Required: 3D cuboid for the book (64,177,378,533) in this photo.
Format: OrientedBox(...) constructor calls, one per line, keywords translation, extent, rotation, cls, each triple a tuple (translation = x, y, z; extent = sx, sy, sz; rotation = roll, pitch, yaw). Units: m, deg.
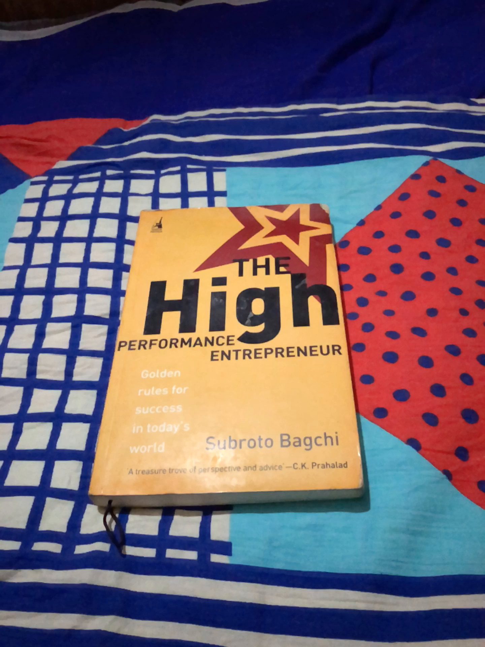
OrientedBox(translation=(-0.008, 0.002, 0.329), extent=(0.140, 0.040, 0.231), rotation=(-2, 51, 3), cls="book")
